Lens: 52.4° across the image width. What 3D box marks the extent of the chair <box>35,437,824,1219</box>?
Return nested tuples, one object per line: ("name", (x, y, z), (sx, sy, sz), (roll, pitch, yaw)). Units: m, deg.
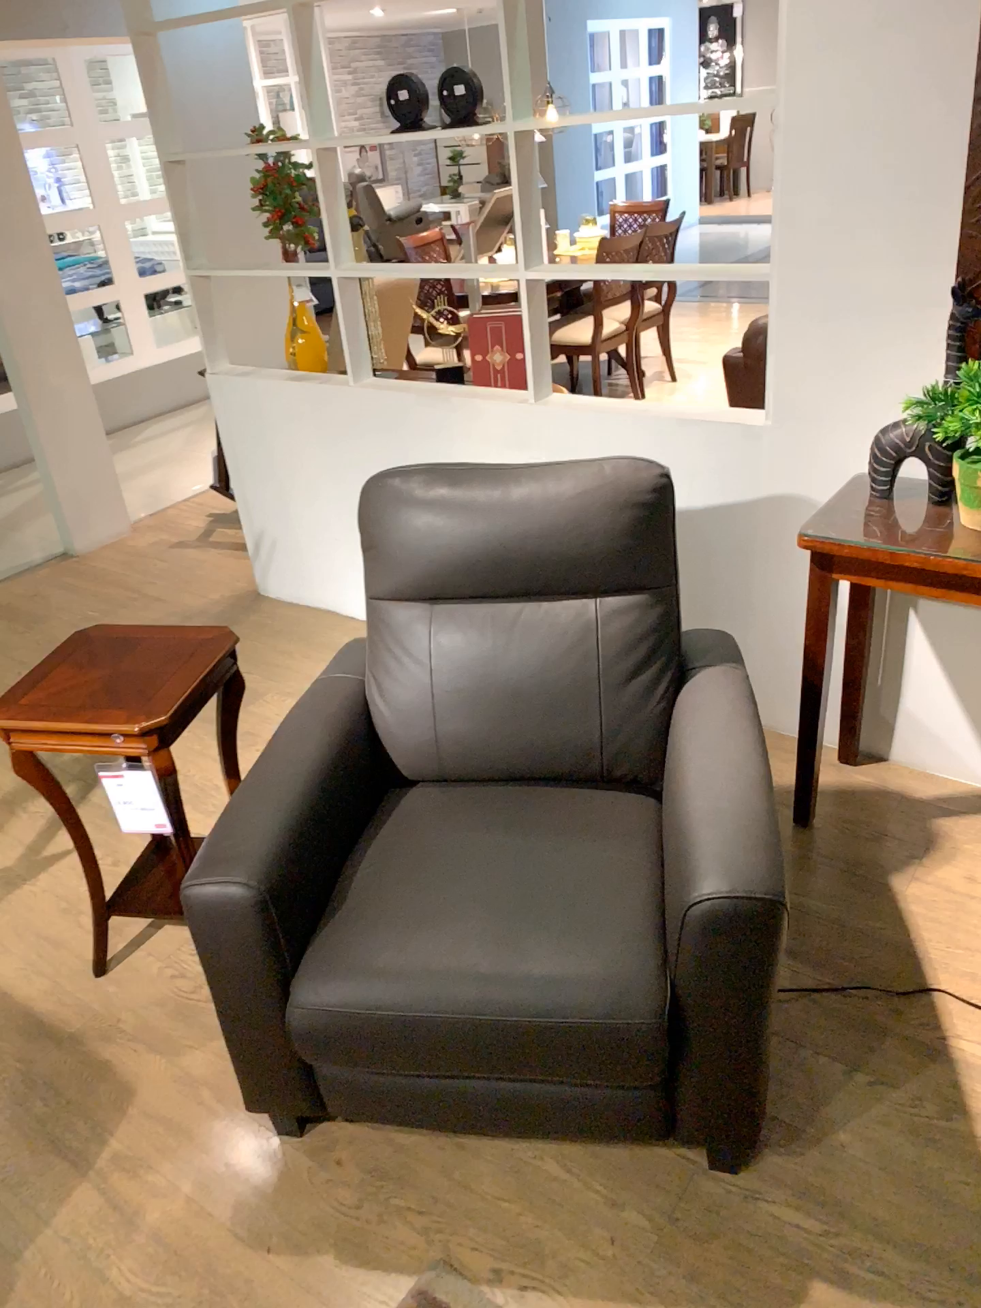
("chair", (0.009, 0.231, 1.773), (0.941, 0.926, 0.924), (-1, 29, 10))
